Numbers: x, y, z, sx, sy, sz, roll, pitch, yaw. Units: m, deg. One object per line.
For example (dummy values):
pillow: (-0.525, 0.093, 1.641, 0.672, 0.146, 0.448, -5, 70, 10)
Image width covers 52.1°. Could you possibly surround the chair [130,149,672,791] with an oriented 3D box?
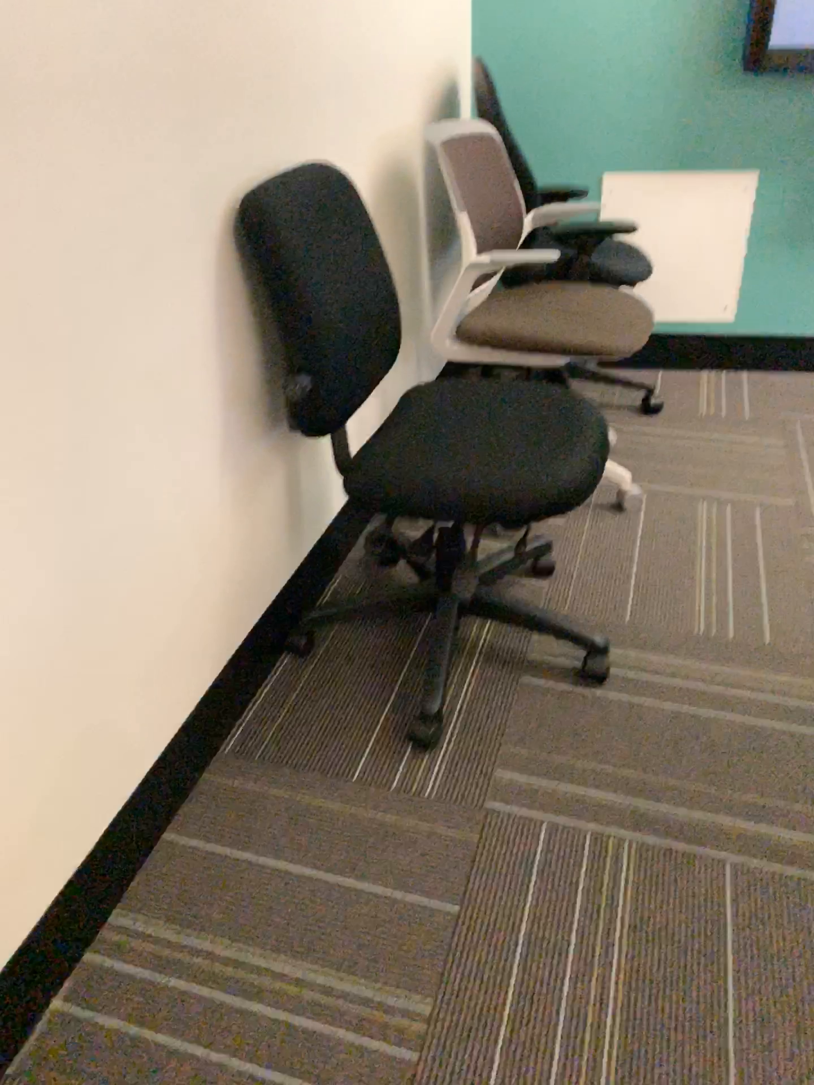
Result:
chair: (0.068, -0.183, 1.648, 0.741, 0.994, 0.683, 7, 34, 15)
